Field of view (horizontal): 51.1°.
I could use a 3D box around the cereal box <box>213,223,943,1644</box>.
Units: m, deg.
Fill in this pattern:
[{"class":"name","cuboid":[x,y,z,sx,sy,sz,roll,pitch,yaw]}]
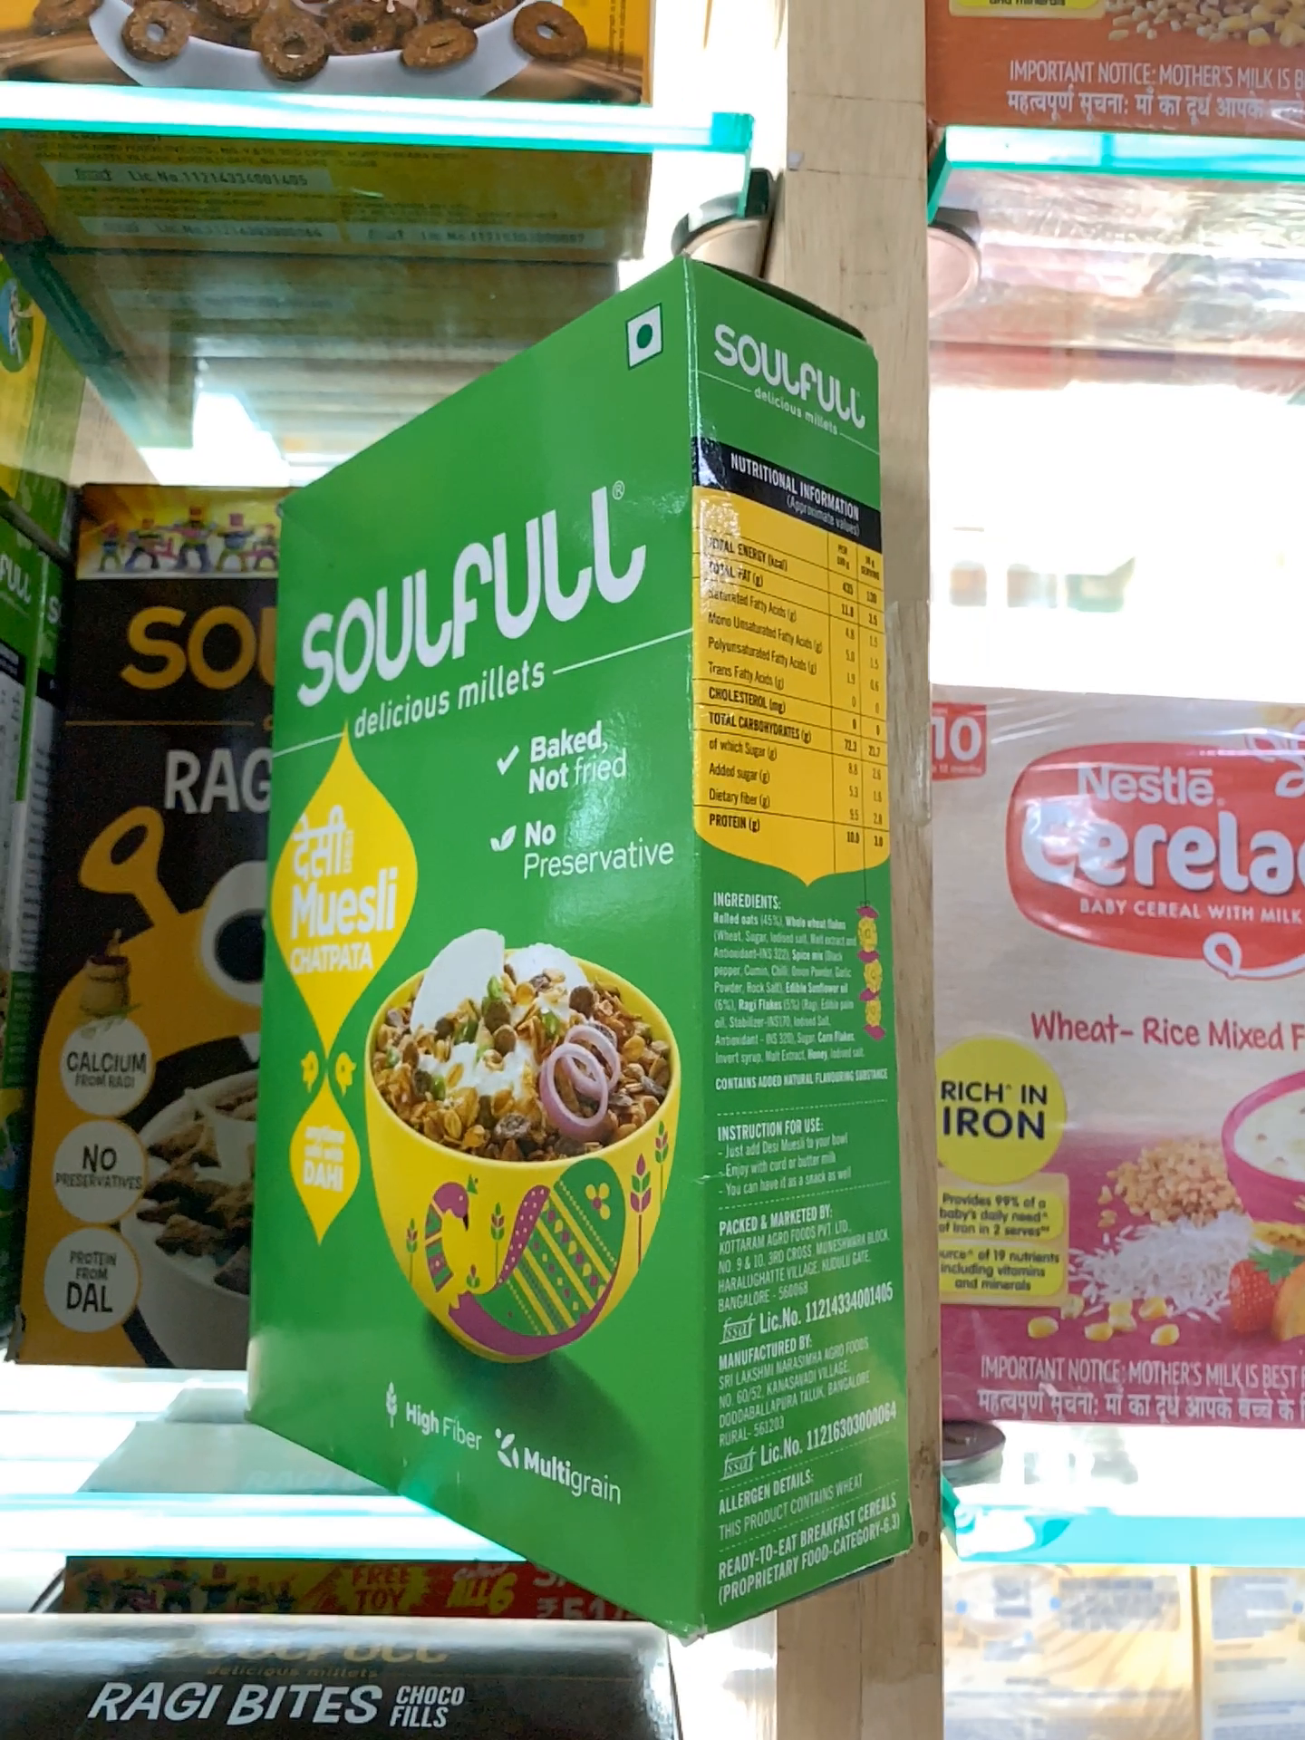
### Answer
[{"class":"cereal box","cuboid":[-0.025,0.011,0.290,0.060,0.221,0.160,7,-10,-41]}]
